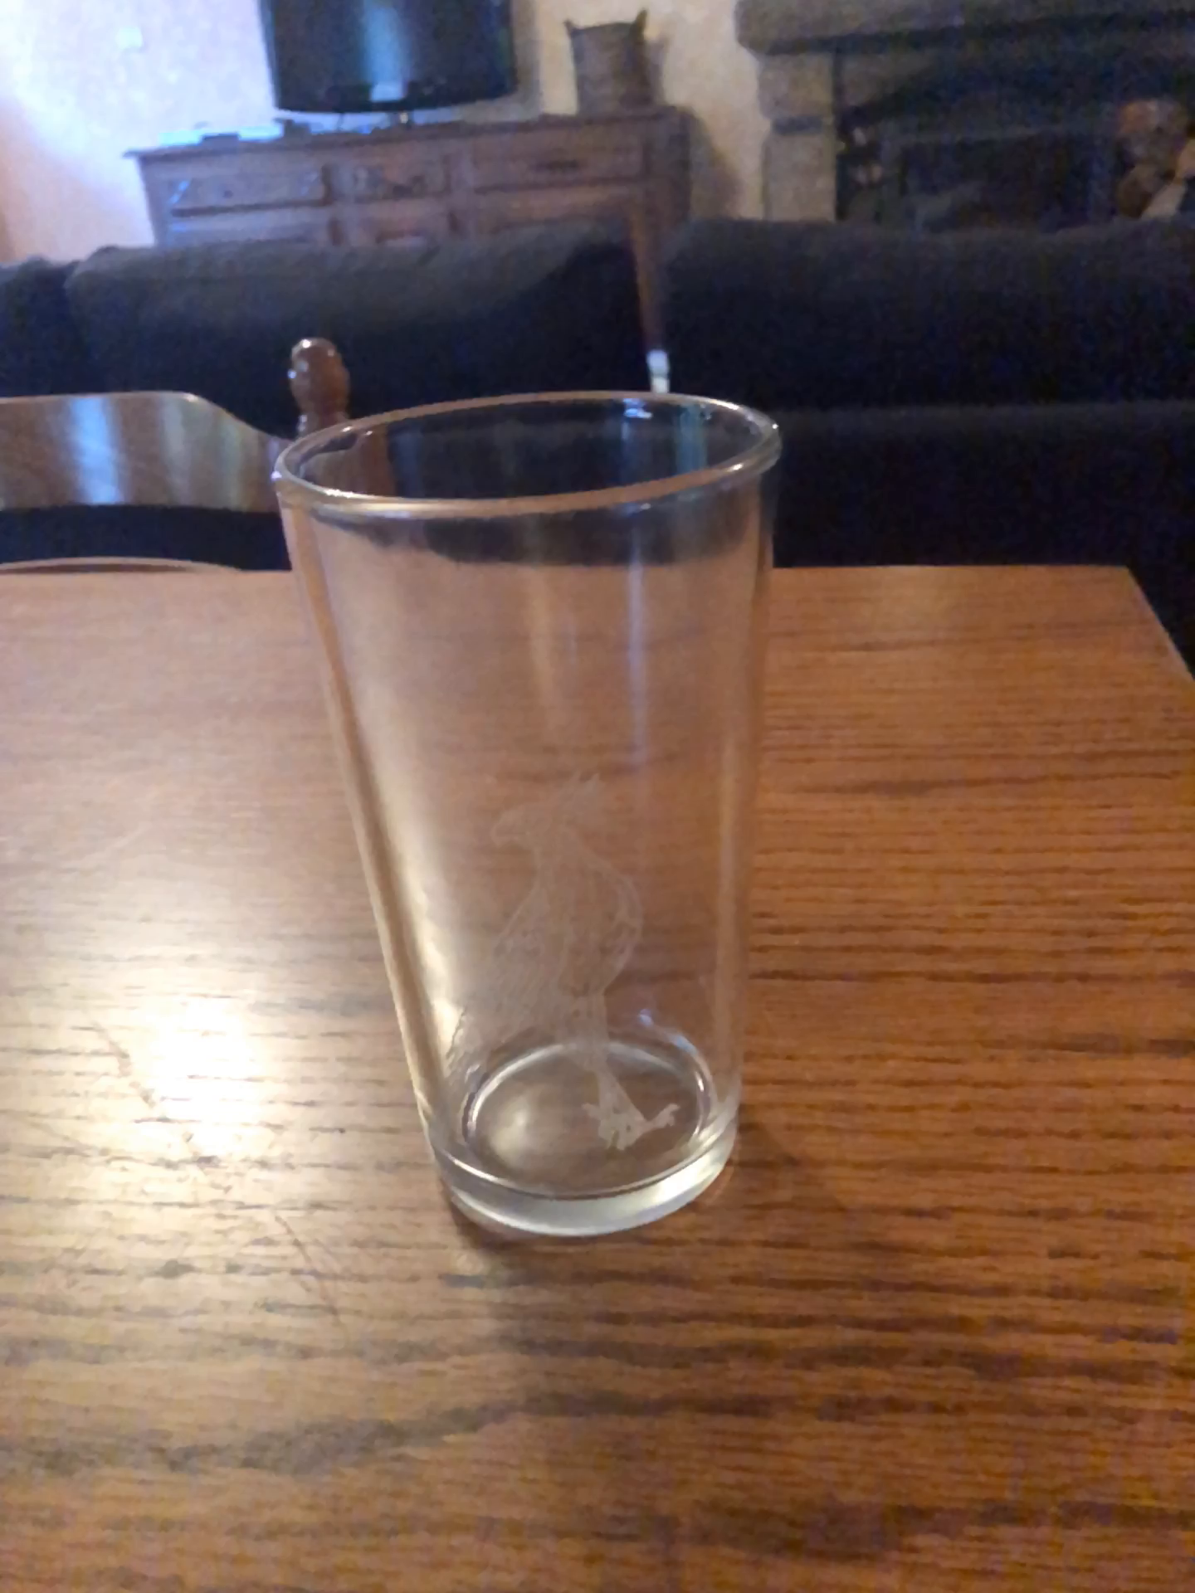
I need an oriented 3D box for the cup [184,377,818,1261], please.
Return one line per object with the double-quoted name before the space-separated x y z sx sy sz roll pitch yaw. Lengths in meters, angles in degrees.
"cup" -0.010 0.002 0.261 0.091 0.144 0.090 -3 26 2
